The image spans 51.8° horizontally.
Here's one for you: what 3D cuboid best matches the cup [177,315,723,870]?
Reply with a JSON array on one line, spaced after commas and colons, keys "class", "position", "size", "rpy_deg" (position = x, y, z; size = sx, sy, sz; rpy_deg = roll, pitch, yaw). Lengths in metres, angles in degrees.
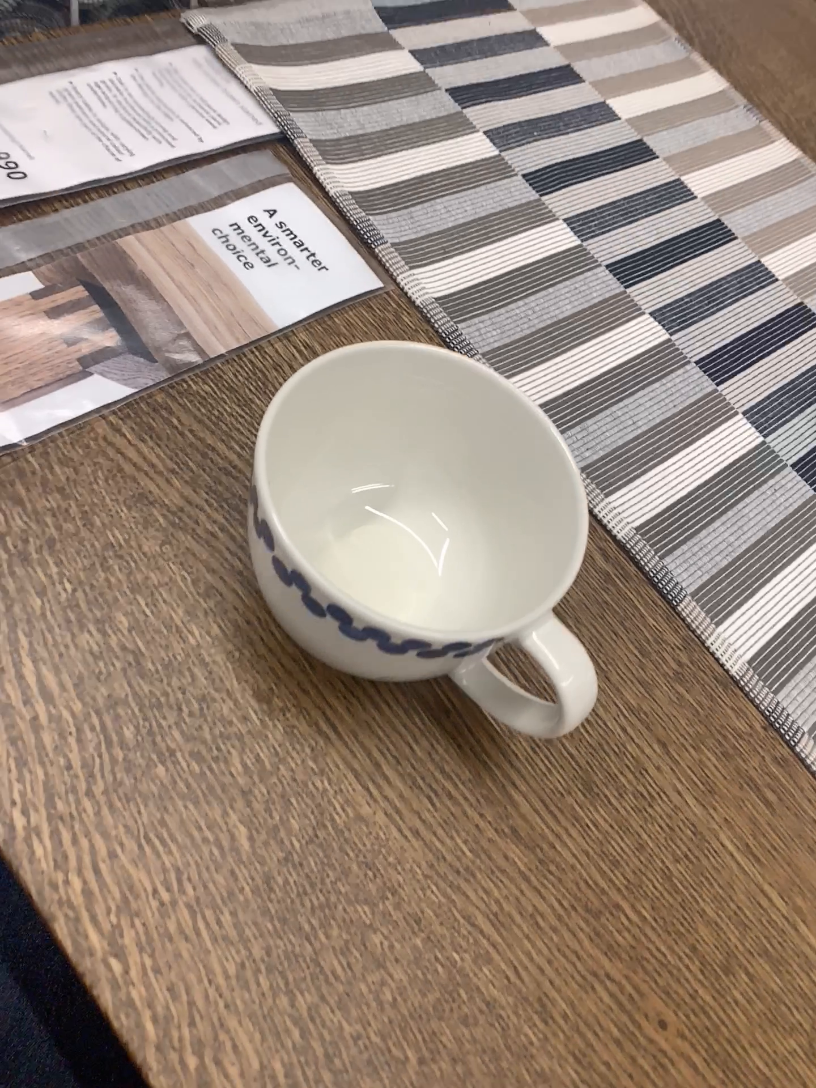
[{"class": "cup", "position": [0.008, 0.012, 0.269], "size": [0.100, 0.070, 0.130], "rpy_deg": [-31, 76, -31]}]
